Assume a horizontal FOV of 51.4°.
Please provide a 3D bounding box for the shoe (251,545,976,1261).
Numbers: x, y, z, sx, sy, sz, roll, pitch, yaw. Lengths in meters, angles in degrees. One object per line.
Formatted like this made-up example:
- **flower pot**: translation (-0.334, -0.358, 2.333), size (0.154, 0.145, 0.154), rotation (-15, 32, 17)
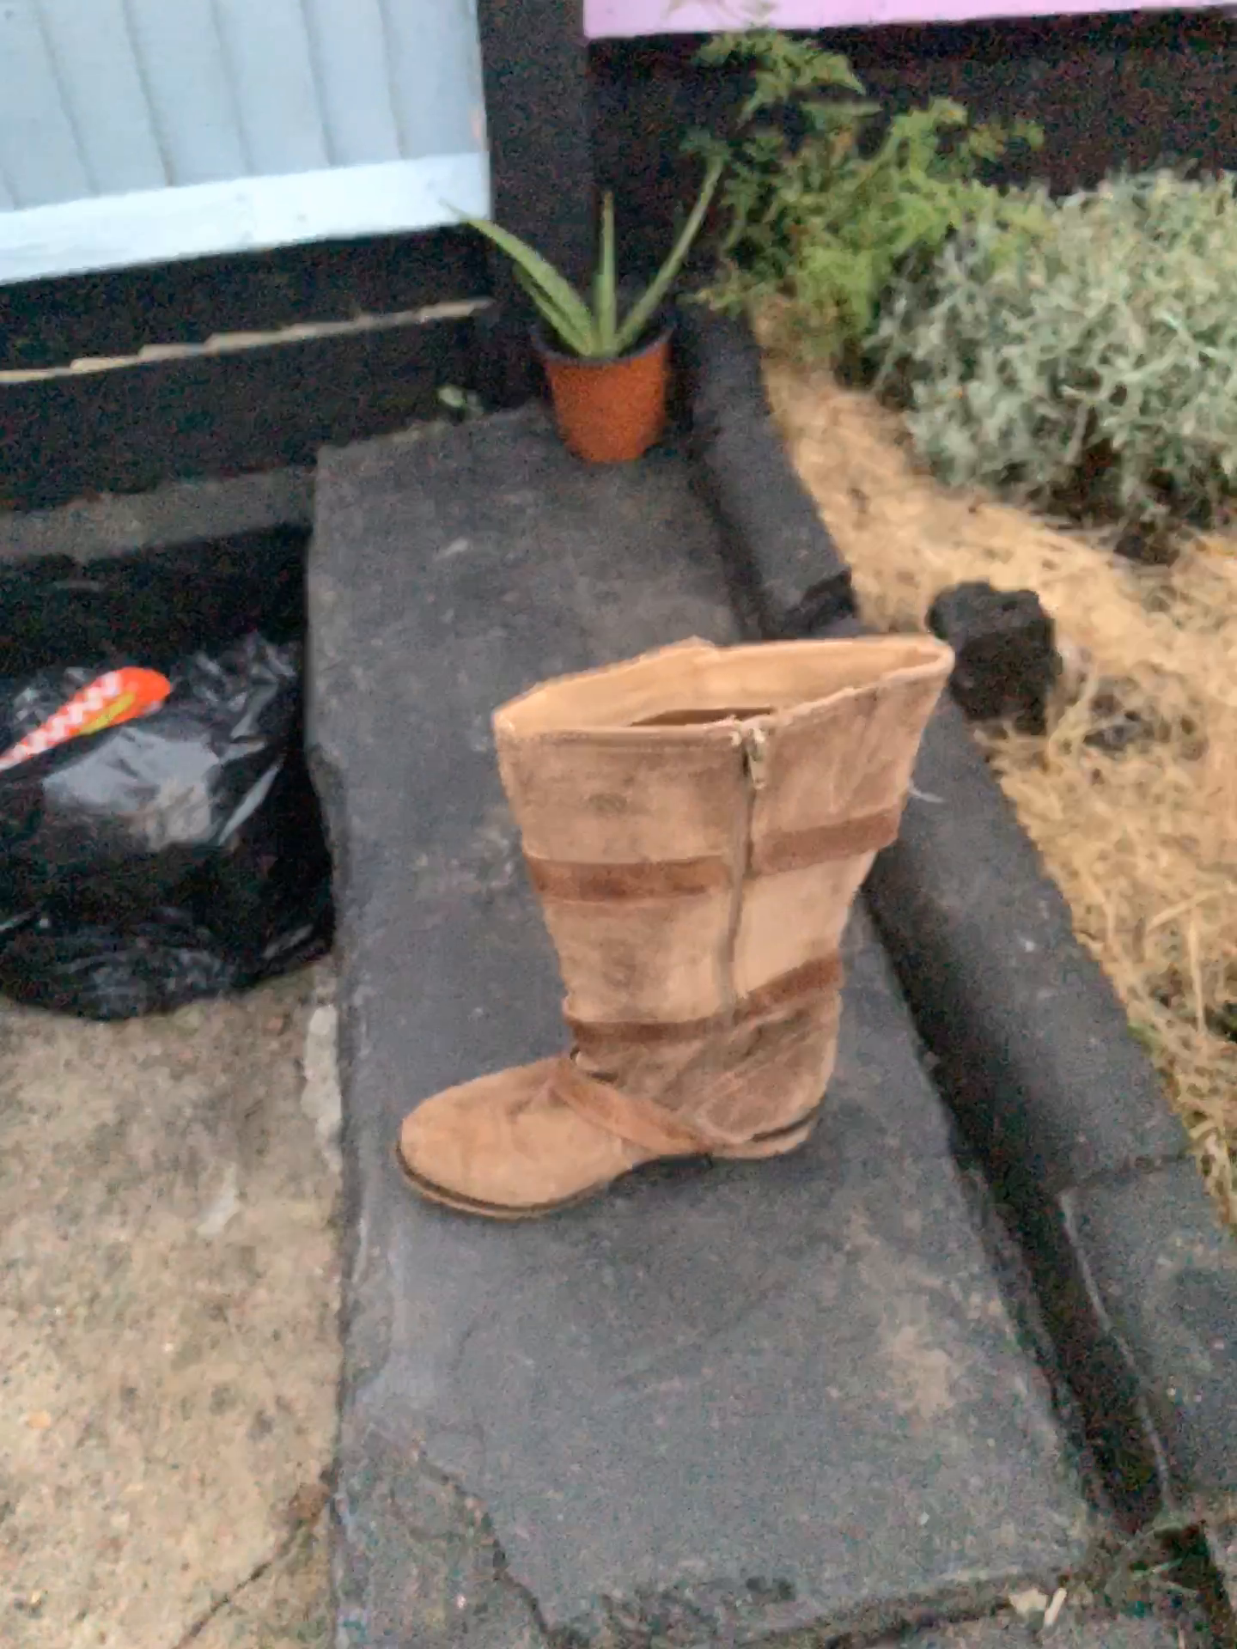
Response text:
- **shoe**: translation (-0.001, 0.064, 0.642), size (0.270, 0.376, 0.101), rotation (-8, 46, -5)
